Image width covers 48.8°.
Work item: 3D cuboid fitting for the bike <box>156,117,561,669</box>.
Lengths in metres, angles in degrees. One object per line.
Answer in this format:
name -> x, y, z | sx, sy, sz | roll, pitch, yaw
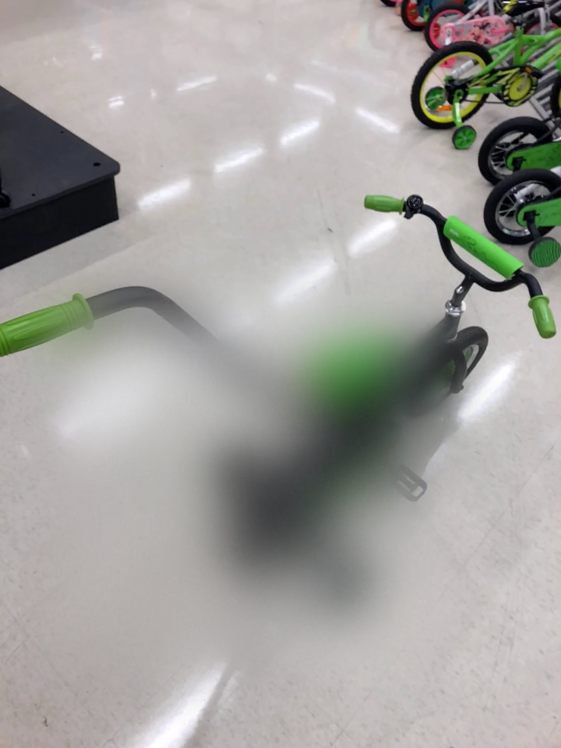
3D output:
bike -> 0.248, -0.003, 1.284 | 0.848, 0.599, 0.492 | -35, 59, -29
